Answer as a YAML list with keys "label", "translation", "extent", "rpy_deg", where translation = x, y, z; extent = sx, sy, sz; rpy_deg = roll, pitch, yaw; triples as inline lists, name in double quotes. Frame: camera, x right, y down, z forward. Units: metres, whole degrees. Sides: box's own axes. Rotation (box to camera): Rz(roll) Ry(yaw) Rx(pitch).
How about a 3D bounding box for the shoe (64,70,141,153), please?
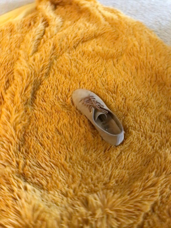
- label: "shoe"
  translation: [0.044, -0.016, 0.595]
  extent: [0.100, 0.070, 0.258]
  rpy_deg: [-30, 64, -16]
